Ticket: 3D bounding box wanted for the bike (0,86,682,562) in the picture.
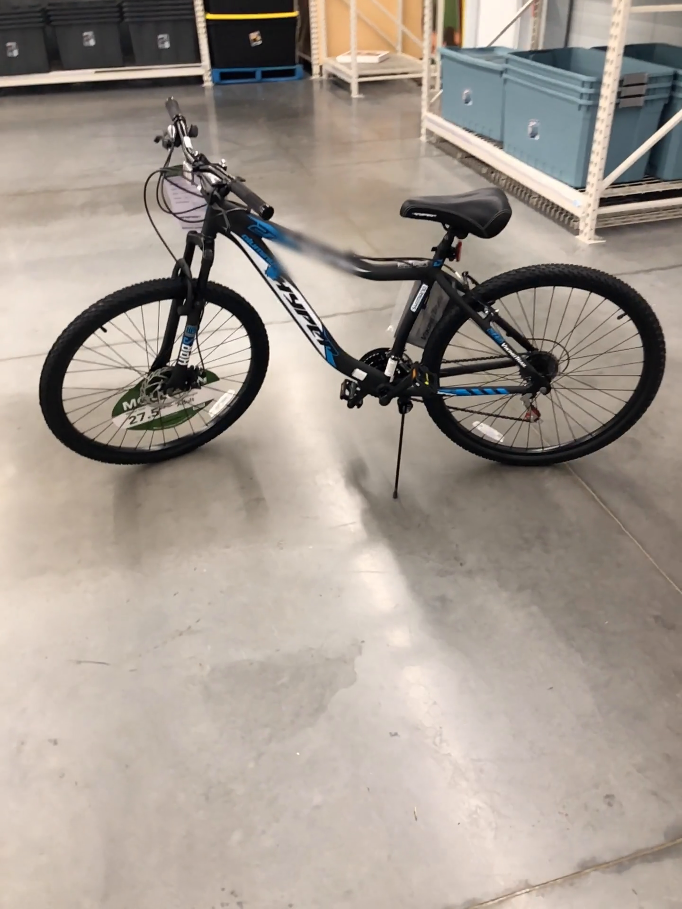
[{"bbox_3d":[0.030,-0.333,1.969,1.632,0.986,0.576,-3,35,-1],"label":"bike"}]
